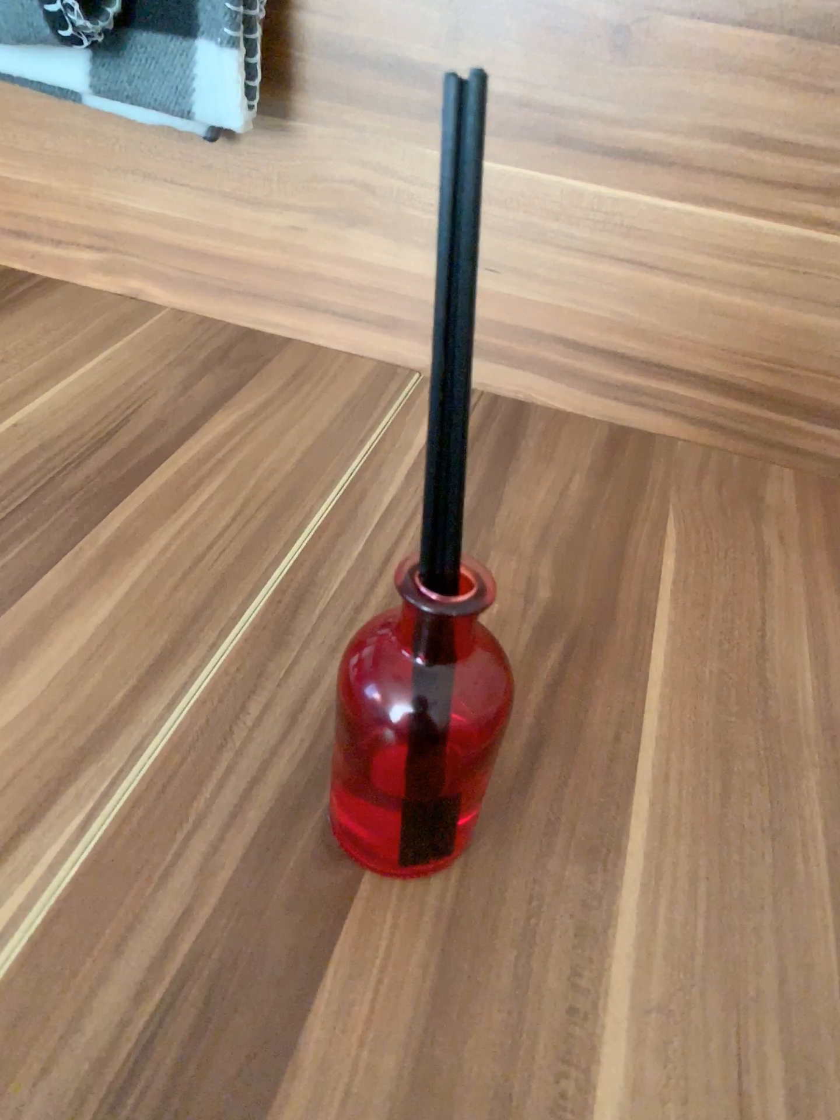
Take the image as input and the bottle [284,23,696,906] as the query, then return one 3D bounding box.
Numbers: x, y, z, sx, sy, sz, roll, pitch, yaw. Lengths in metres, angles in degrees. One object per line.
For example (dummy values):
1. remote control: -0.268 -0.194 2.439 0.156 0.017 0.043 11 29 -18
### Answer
1. bottle: 0.005 -0.002 0.237 0.060 0.239 0.050 19 39 13
